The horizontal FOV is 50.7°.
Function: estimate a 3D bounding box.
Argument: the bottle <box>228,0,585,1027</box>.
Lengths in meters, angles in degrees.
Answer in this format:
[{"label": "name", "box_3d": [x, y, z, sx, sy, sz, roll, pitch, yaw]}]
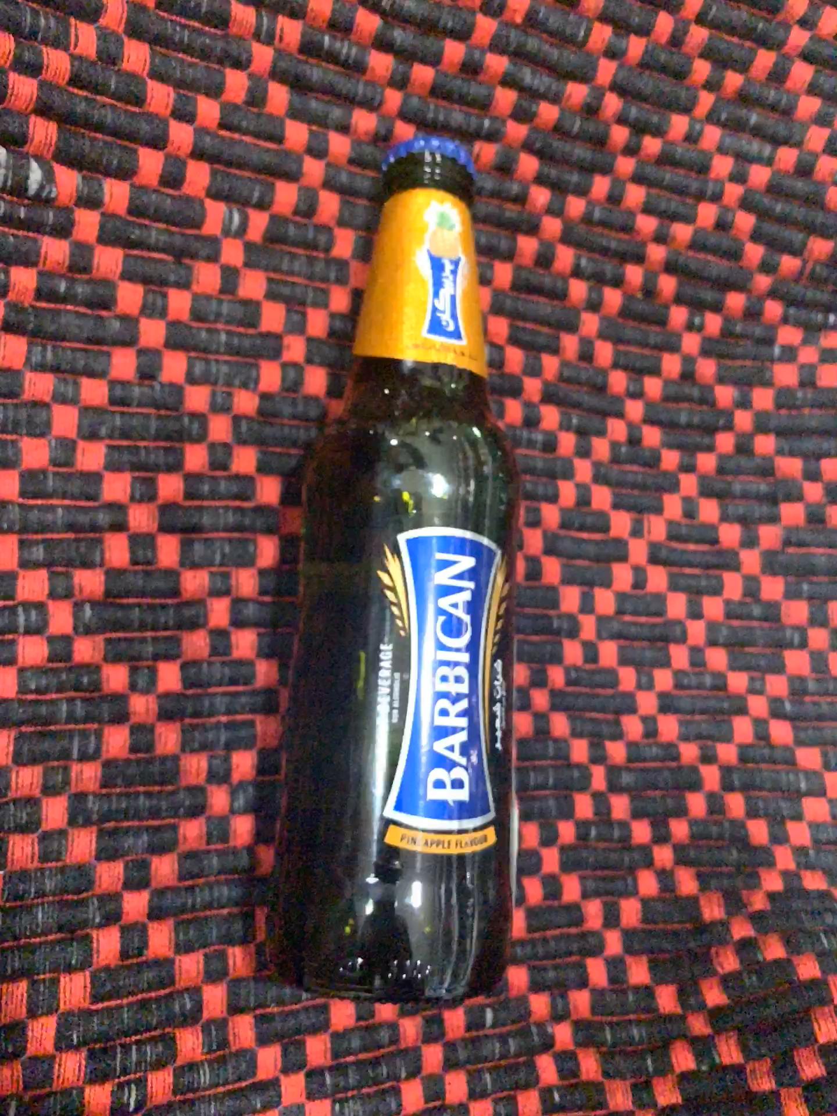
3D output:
[{"label": "bottle", "box_3d": [-0.006, -0.021, 0.241, 0.060, 0.070, 0.250, 8, 72, -23]}]
